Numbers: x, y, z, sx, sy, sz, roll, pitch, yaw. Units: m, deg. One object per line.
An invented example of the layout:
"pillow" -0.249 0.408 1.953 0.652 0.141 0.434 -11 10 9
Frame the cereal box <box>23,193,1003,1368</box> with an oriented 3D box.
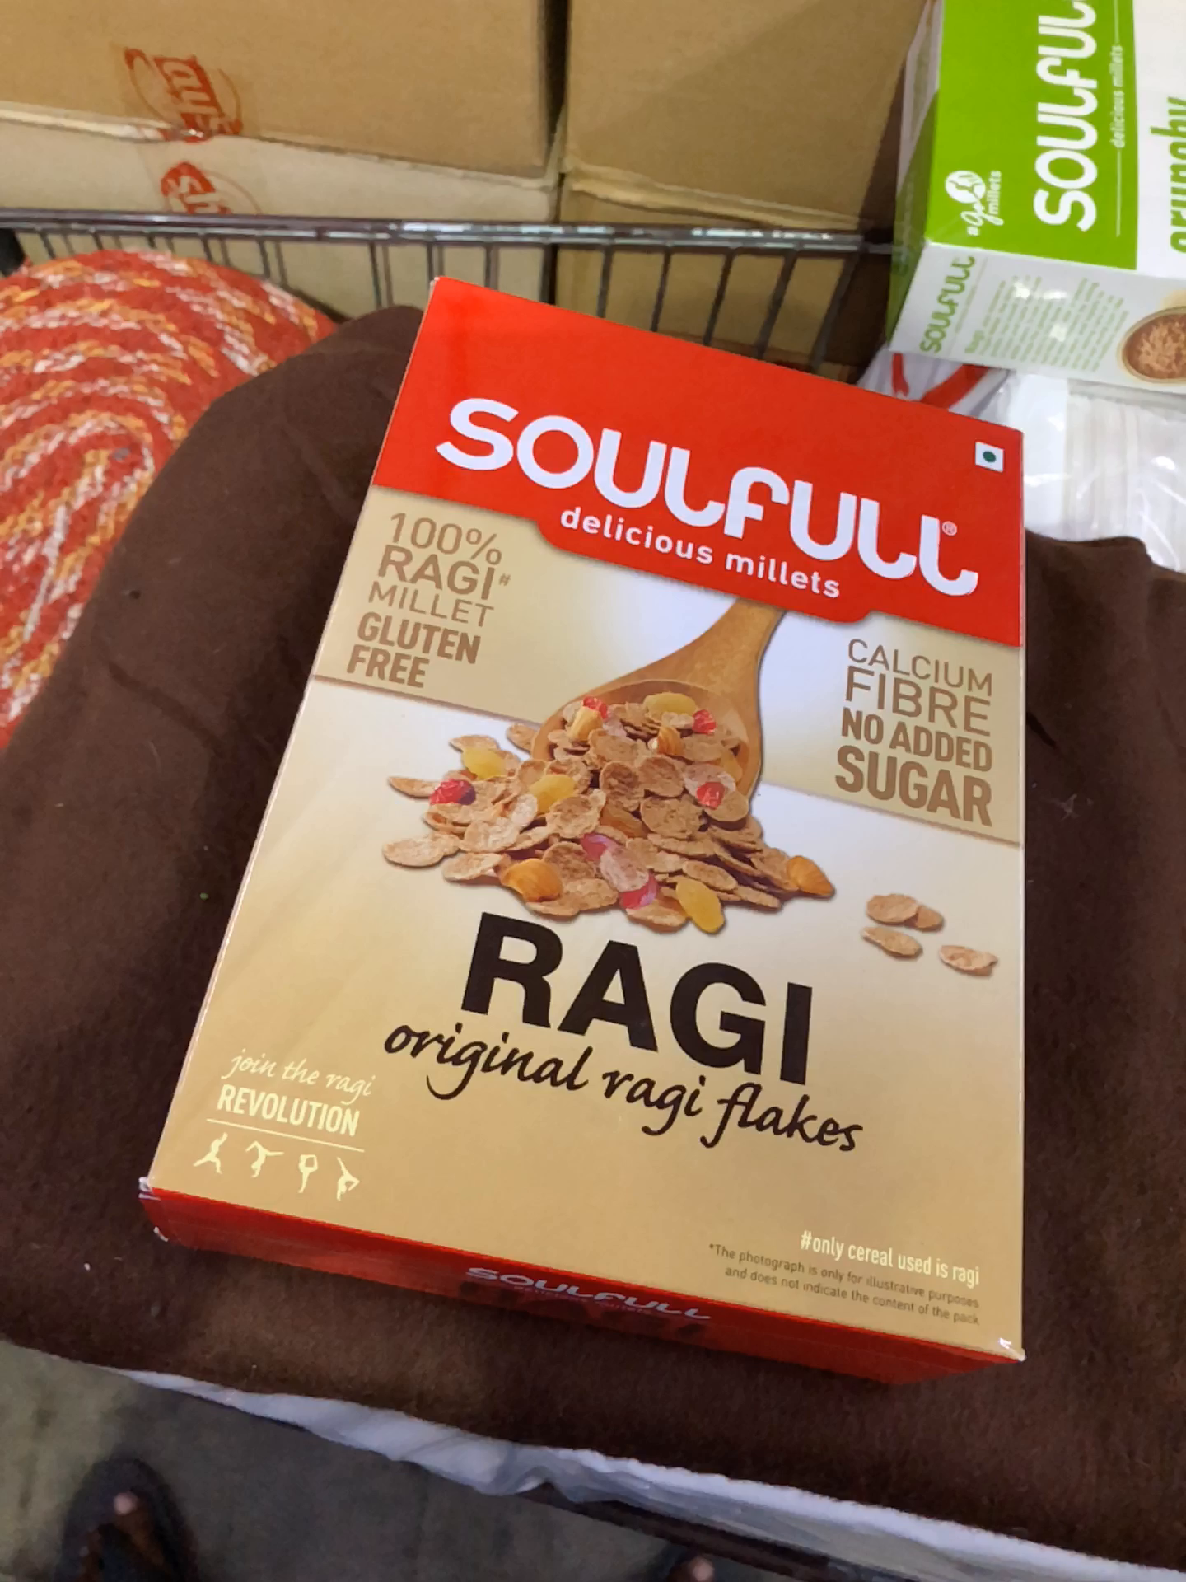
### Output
"cereal box" 0.002 -0.013 0.302 0.170 0.050 0.241 13 62 -6
